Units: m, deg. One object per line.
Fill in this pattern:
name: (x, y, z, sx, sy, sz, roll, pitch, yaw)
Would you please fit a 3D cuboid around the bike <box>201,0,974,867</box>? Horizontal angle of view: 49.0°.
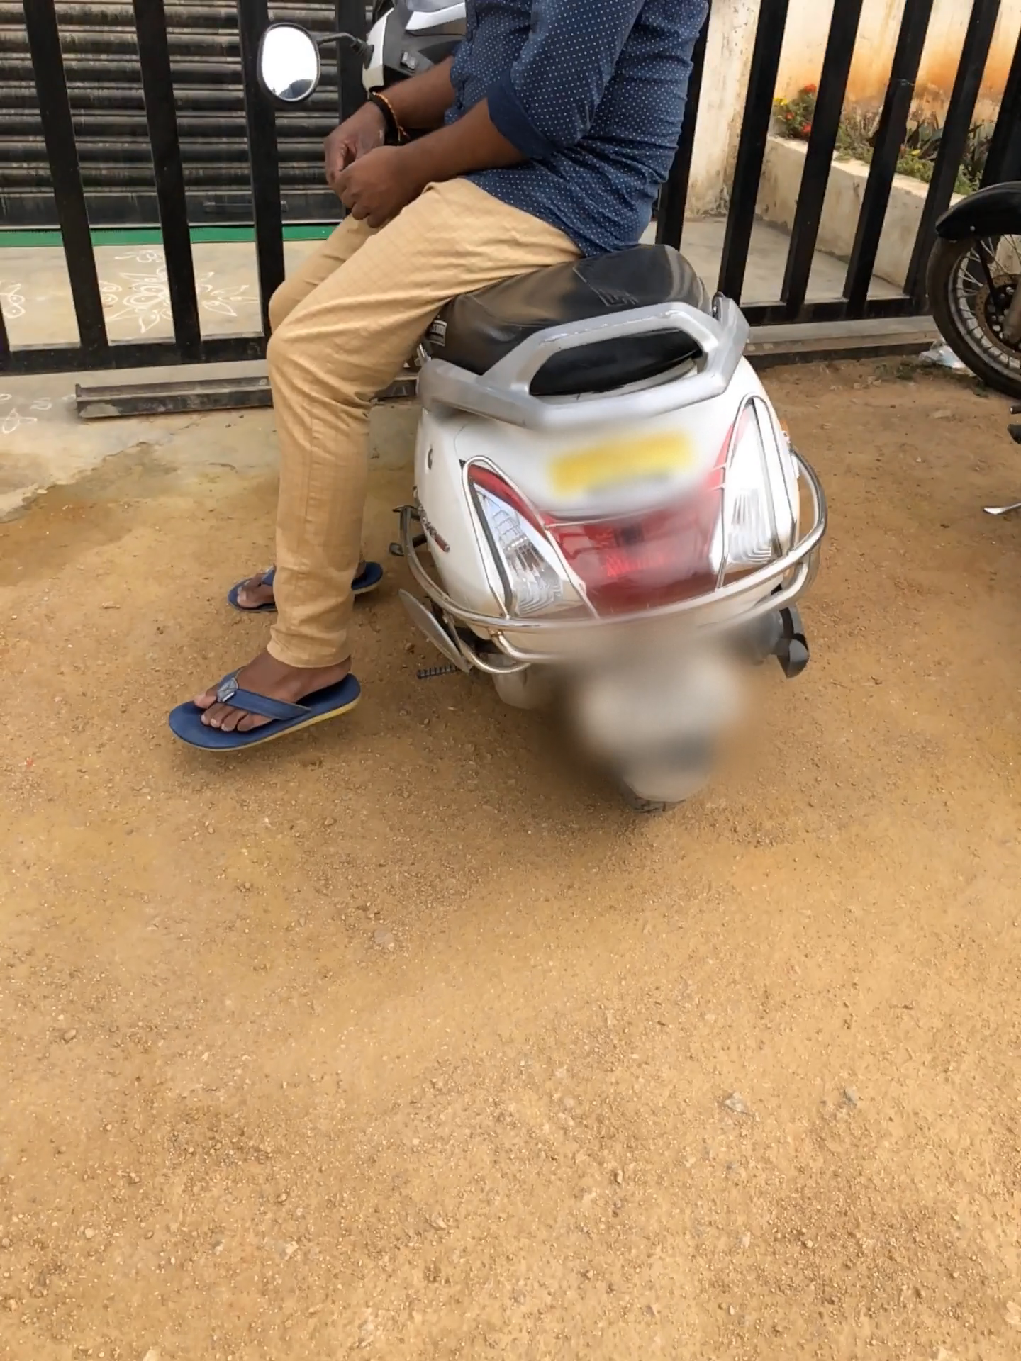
bike: (-0.111, -0.691, 1.948, 0.651, 1.069, 1.652, -6, 37, -13)
